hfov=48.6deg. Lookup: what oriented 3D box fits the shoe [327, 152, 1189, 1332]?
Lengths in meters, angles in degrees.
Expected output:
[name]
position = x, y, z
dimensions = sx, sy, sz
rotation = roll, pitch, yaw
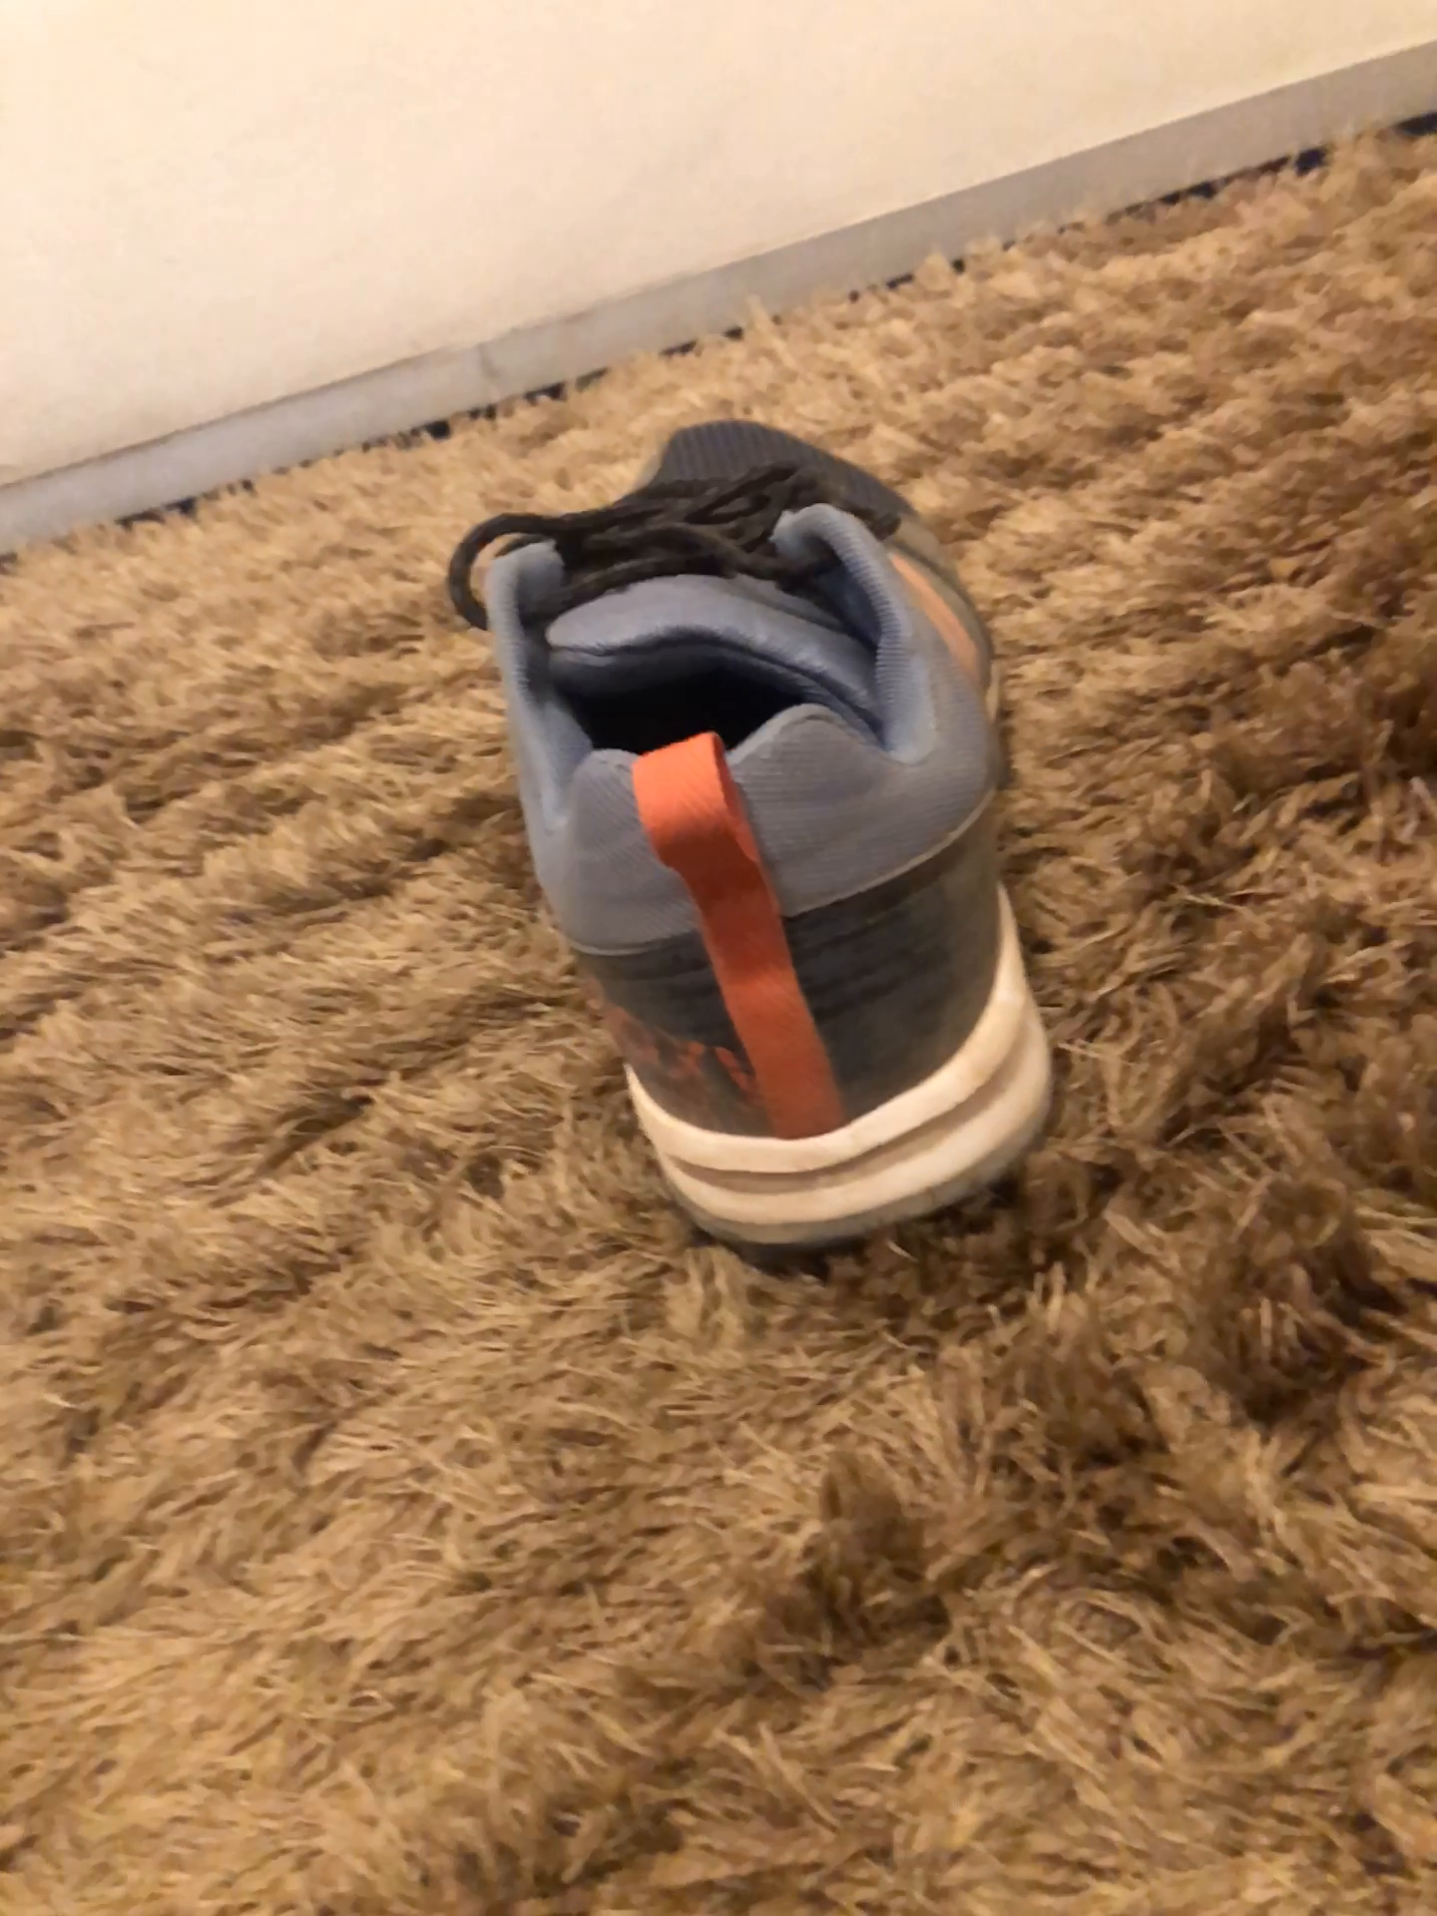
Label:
[shoe]
position = 0.009, -0.072, 0.357
dimensions = 0.113, 0.109, 0.276
rotation = -13, 39, 9
